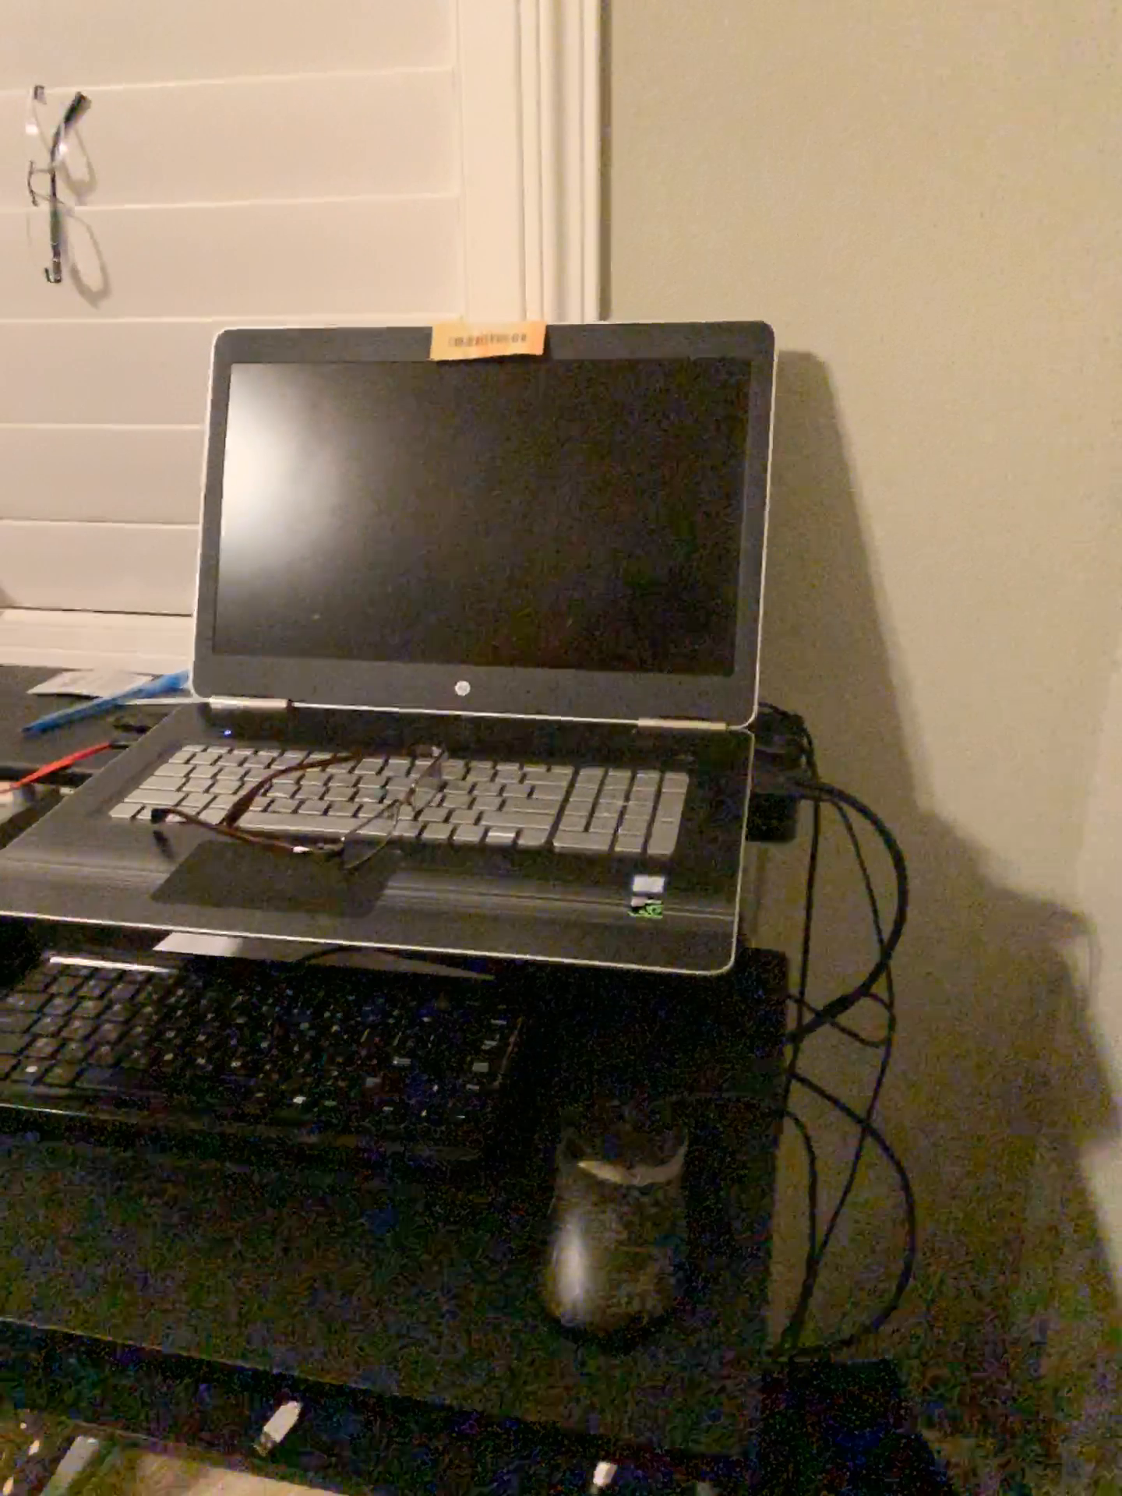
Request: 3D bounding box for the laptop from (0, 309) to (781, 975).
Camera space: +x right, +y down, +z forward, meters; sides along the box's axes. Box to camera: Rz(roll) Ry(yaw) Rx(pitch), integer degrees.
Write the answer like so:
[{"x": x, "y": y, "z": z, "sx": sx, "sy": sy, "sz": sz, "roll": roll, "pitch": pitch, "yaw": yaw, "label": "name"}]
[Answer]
[{"x": -0.091, "y": -0.116, "z": 0.744, "sx": 0.433, "sy": 0.263, "sz": 0.421, "roll": 3, "pitch": 25, "yaw": 11, "label": "laptop"}]
